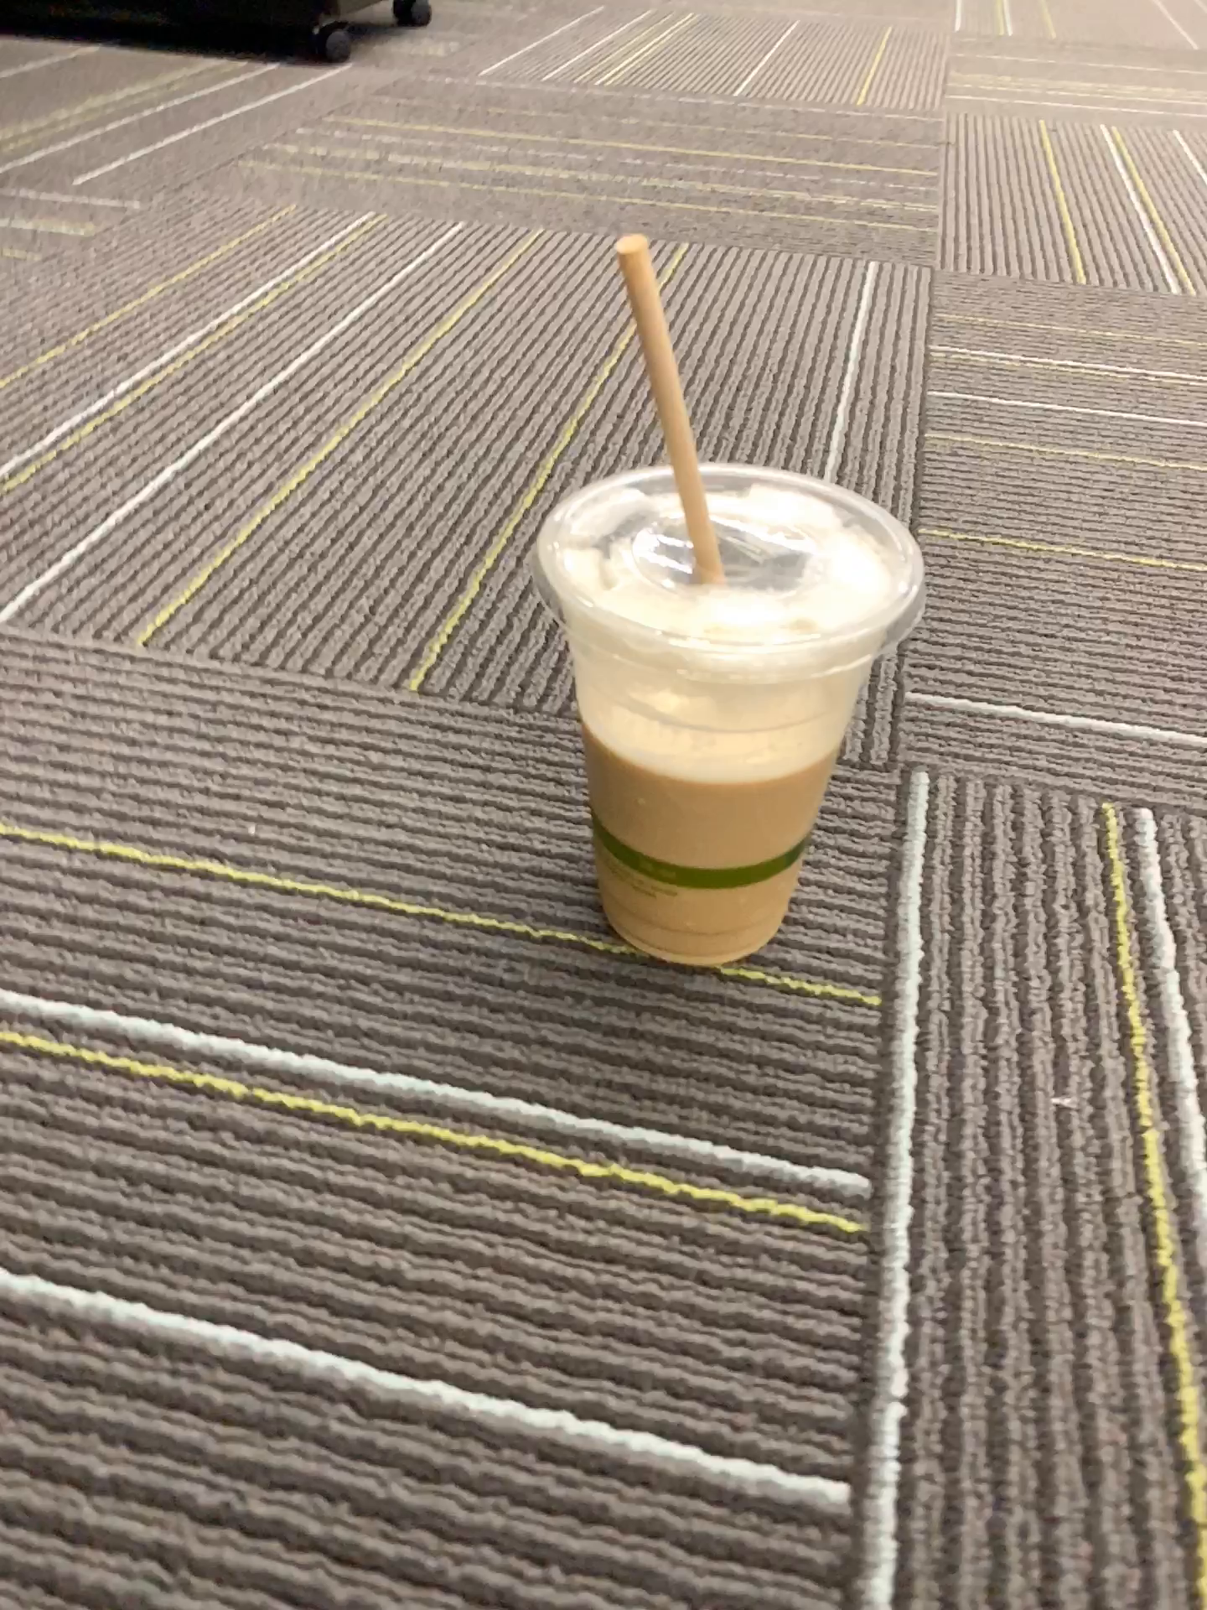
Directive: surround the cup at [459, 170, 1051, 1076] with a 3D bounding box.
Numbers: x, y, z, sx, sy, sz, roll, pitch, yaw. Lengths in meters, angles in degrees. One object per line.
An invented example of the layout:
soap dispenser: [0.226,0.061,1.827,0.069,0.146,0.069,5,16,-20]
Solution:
cup: [0.032,-0.042,0.314,0.090,0.189,0.090,1,39,-1]
